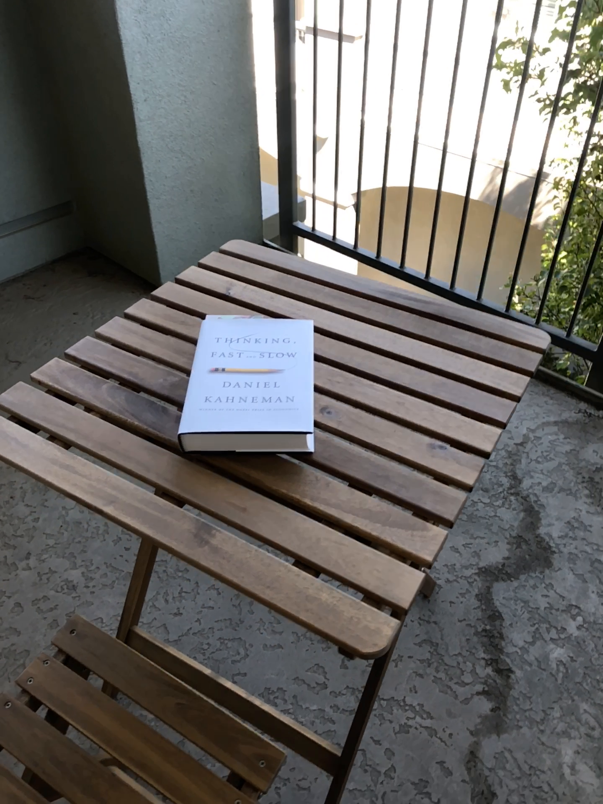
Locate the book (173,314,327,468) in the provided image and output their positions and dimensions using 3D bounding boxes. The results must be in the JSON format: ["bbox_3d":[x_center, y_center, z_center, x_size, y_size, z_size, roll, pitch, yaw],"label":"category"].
[{"bbox_3d":[-0.060,-0.024,0.897,0.180,0.050,0.261,0,41,0],"label":"book"}]
